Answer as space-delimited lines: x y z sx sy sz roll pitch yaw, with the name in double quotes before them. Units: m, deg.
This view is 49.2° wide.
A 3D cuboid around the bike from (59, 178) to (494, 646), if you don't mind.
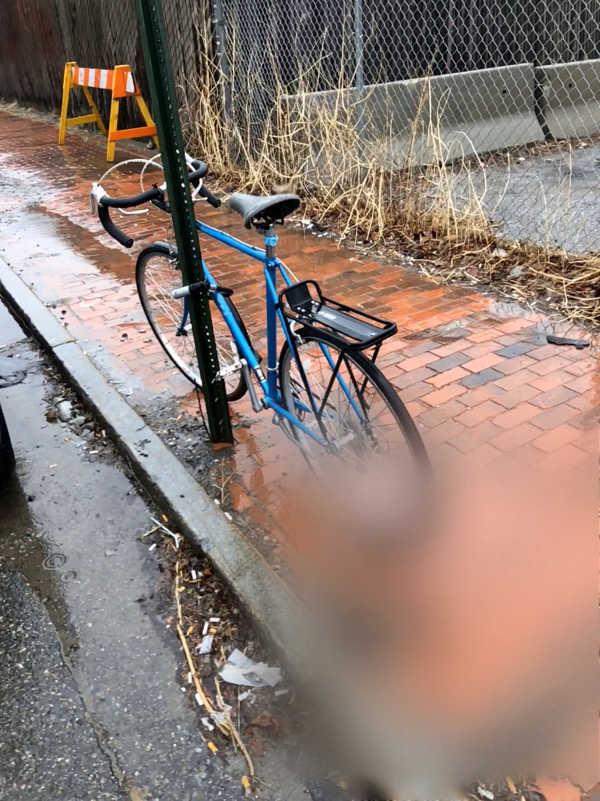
"bike" -0.233 -0.161 2.376 0.473 0.919 1.872 -22 35 -29
